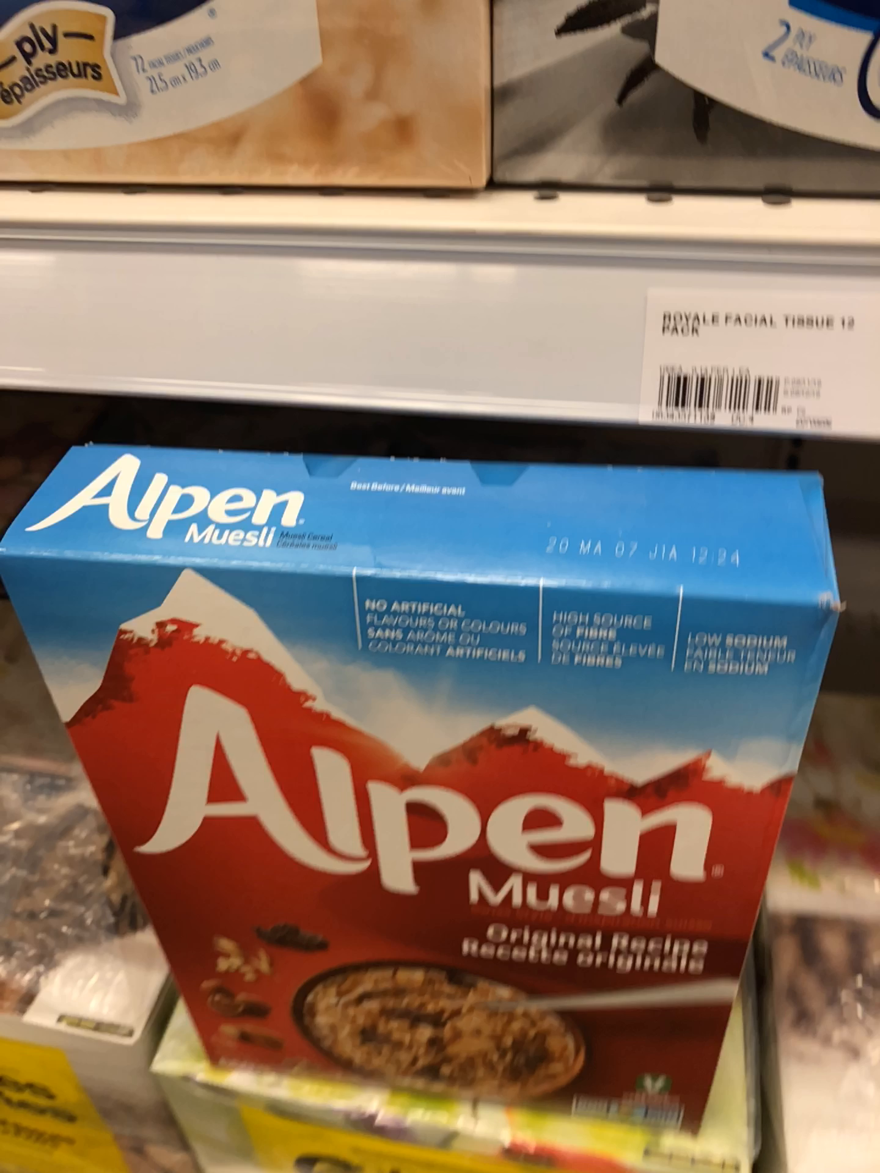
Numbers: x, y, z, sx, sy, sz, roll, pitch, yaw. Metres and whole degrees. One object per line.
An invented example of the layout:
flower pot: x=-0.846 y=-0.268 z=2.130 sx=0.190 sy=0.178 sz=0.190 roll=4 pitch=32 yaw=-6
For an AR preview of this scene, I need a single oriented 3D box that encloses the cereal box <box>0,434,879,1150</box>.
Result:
cereal box: x=0.001 y=0.073 z=0.277 sx=0.180 sy=0.229 sz=0.050 roll=3 pitch=41 yaw=8
